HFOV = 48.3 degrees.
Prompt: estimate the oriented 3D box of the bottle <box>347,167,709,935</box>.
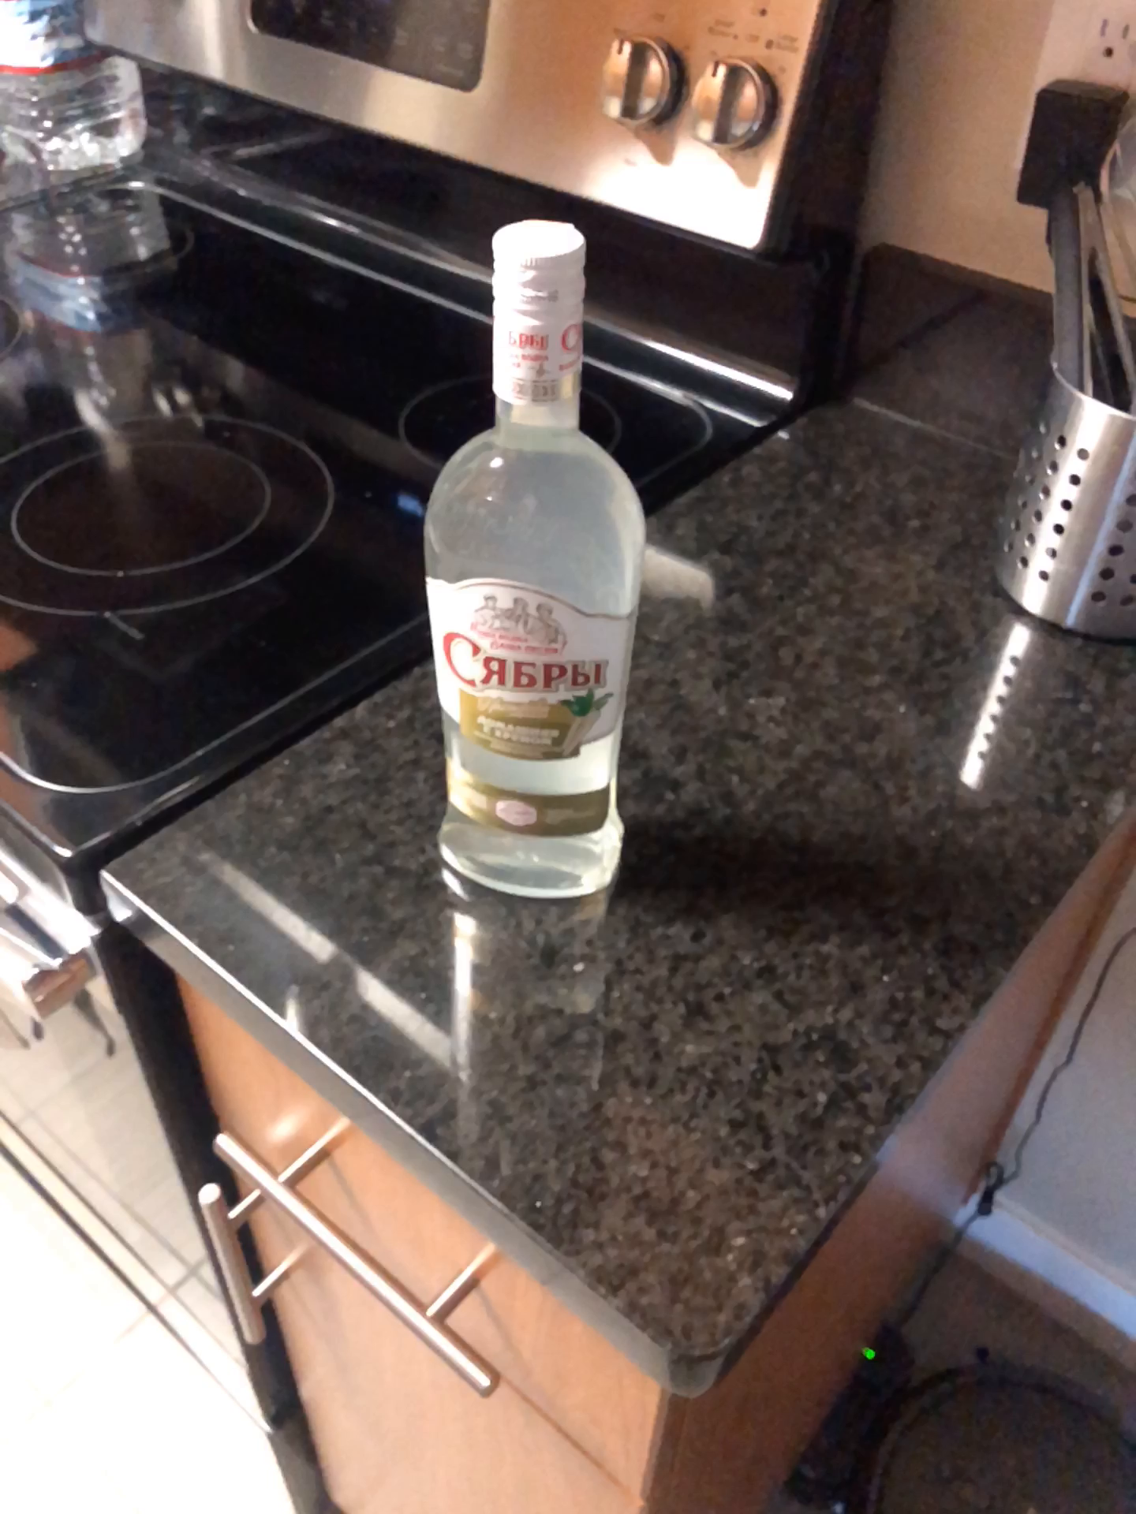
[{"bbox_3d":[-0.014,-0.058,0.461,0.090,0.269,0.060,15,43,14],"label":"bottle"}]
